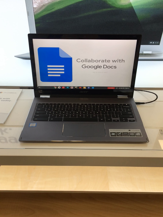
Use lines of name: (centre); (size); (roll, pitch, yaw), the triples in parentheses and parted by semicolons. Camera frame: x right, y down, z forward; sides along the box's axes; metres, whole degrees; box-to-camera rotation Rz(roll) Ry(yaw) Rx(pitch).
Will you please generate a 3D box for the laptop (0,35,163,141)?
laptop: (0.002, -0.066, 0.593); (0.327, 0.203, 0.263); (1, 39, -1)
